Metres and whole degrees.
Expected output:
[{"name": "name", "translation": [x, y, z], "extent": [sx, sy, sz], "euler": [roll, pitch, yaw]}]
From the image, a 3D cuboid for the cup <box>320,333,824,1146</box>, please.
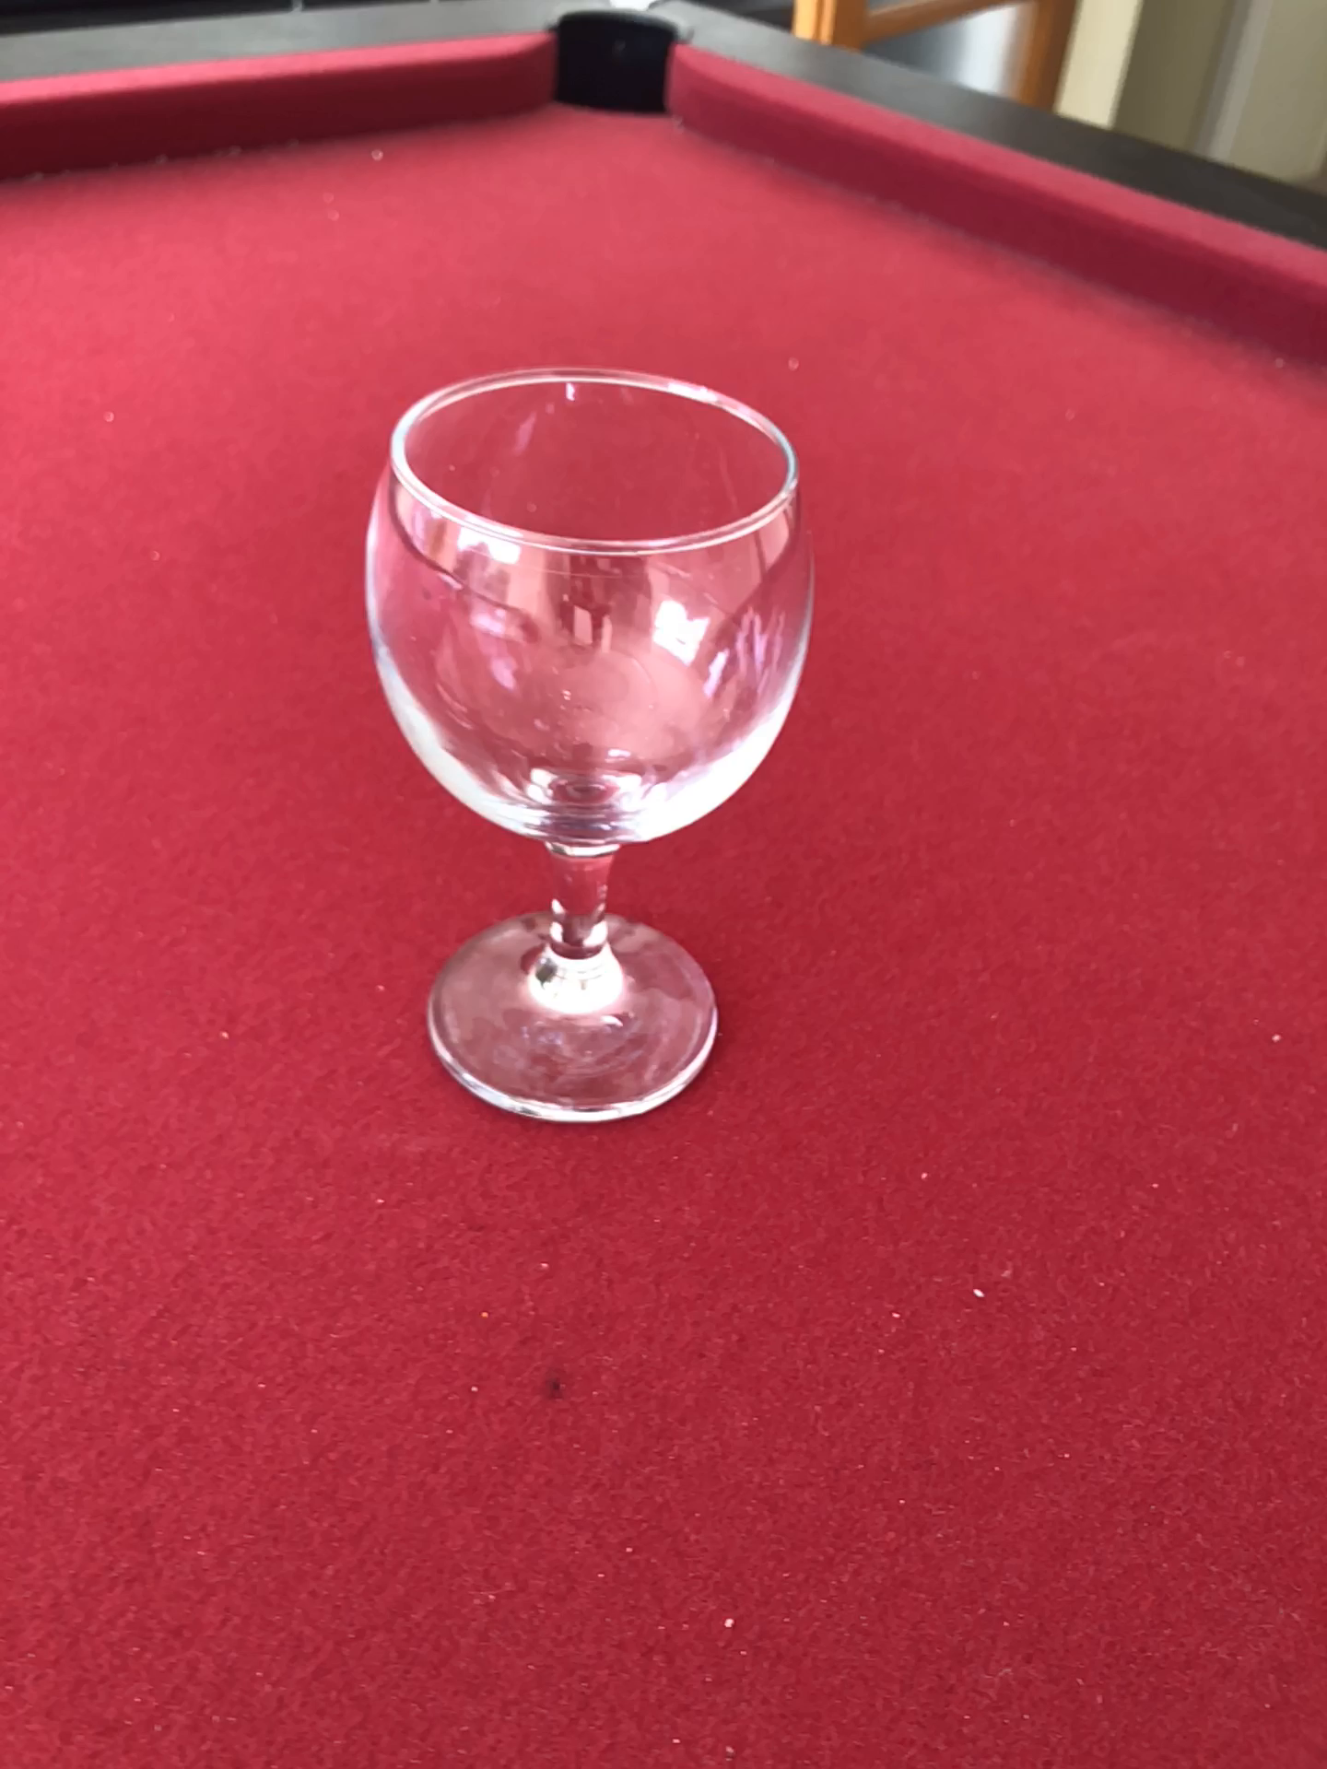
[{"name": "cup", "translation": [-0.016, -0.025, 0.285], "extent": [0.070, 0.129, 0.070], "euler": [3, 40, -3]}]
